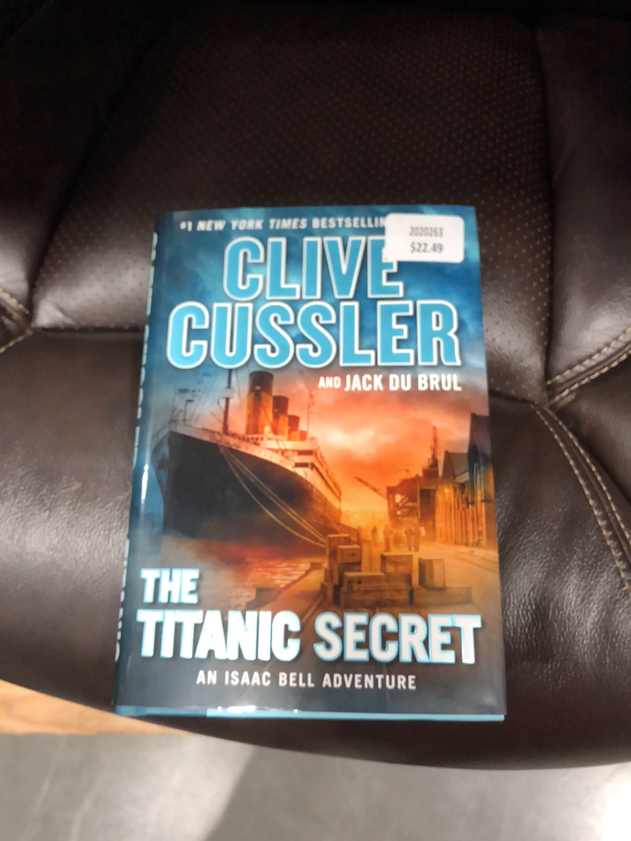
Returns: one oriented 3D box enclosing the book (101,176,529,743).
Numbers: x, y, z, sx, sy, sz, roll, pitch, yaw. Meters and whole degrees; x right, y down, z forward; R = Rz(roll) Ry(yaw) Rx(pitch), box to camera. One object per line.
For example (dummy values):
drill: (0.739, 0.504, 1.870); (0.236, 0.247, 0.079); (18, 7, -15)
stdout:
book: (0.002, 0.008, 0.328); (0.165, 0.040, 0.249); (0, 73, 4)
